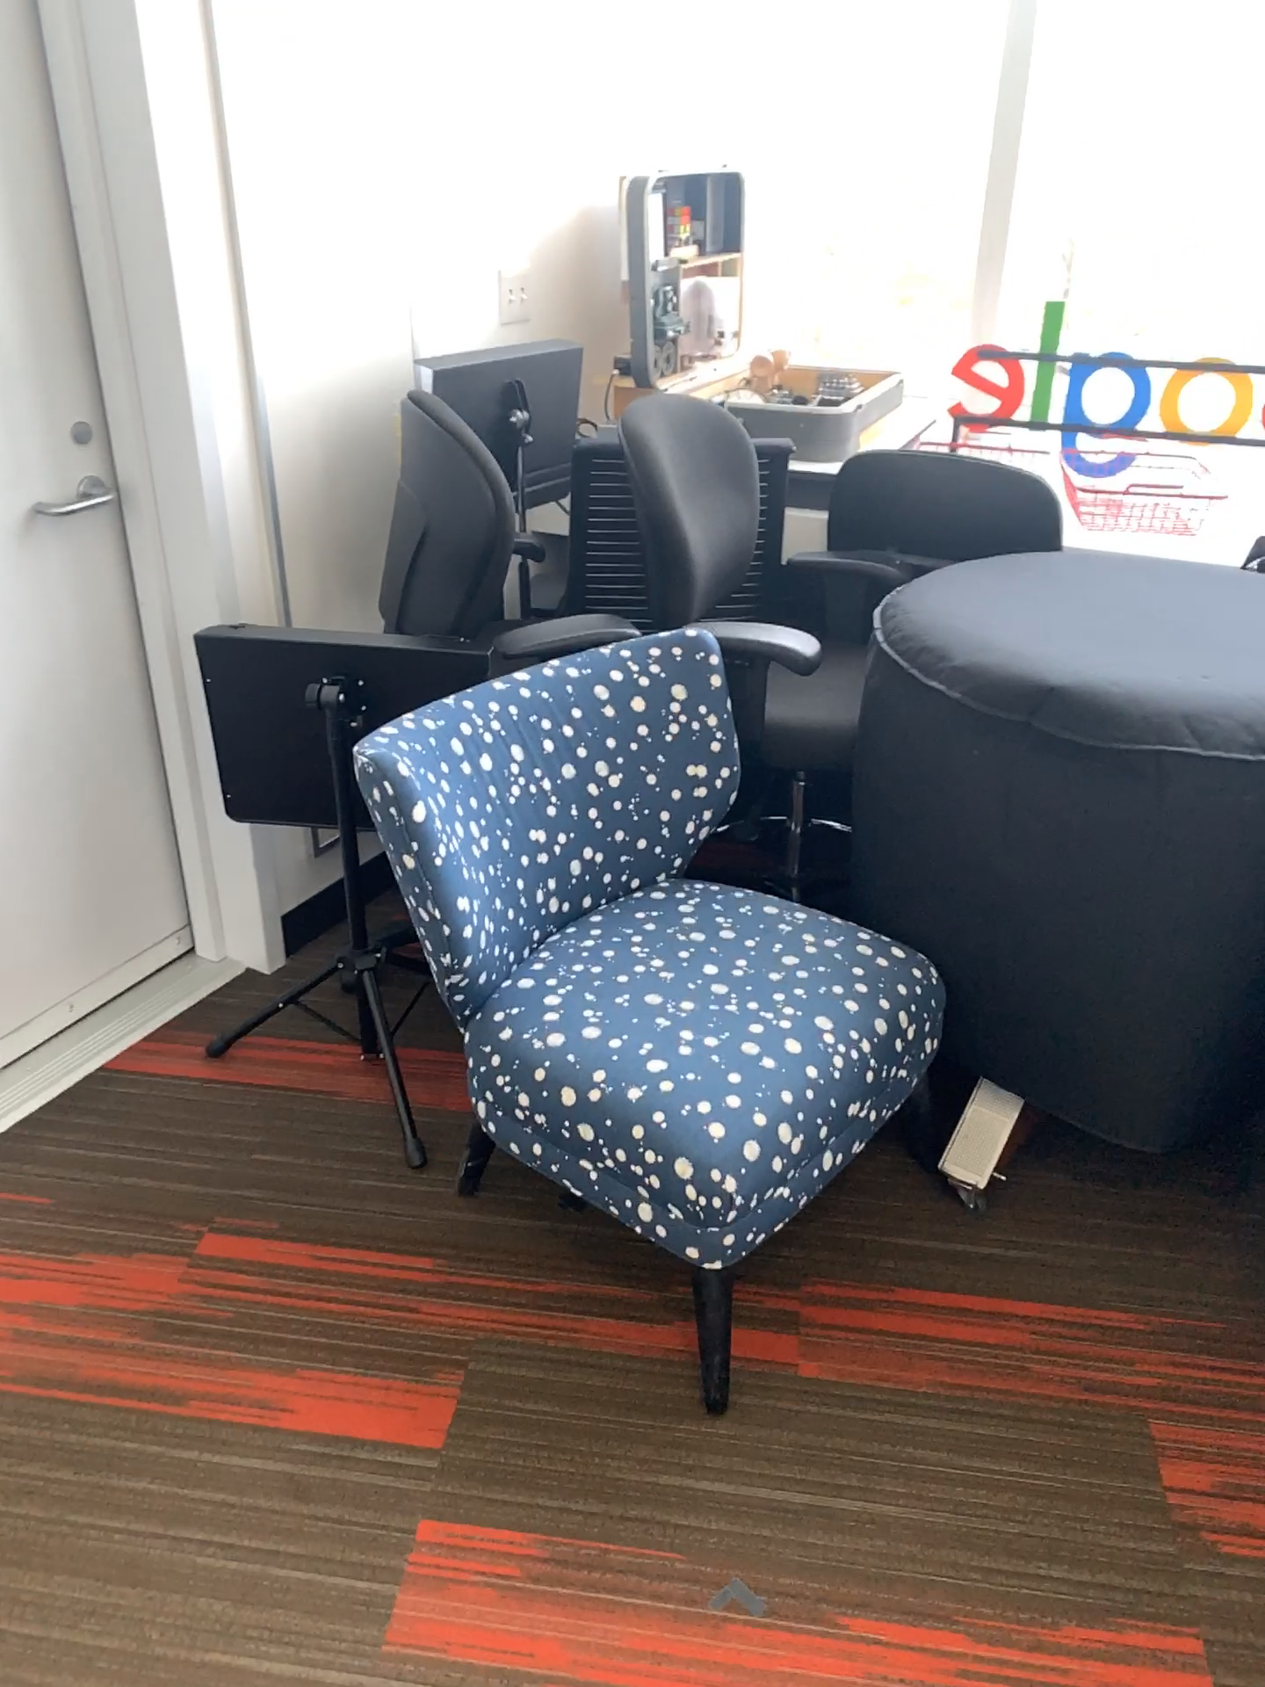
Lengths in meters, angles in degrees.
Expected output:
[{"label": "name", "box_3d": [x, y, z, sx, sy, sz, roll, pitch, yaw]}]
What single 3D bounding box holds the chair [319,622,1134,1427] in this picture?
[{"label": "chair", "box_3d": [0.169, 0.165, 2.093, 0.772, 0.686, 1.003, 23, 34, 36]}]
